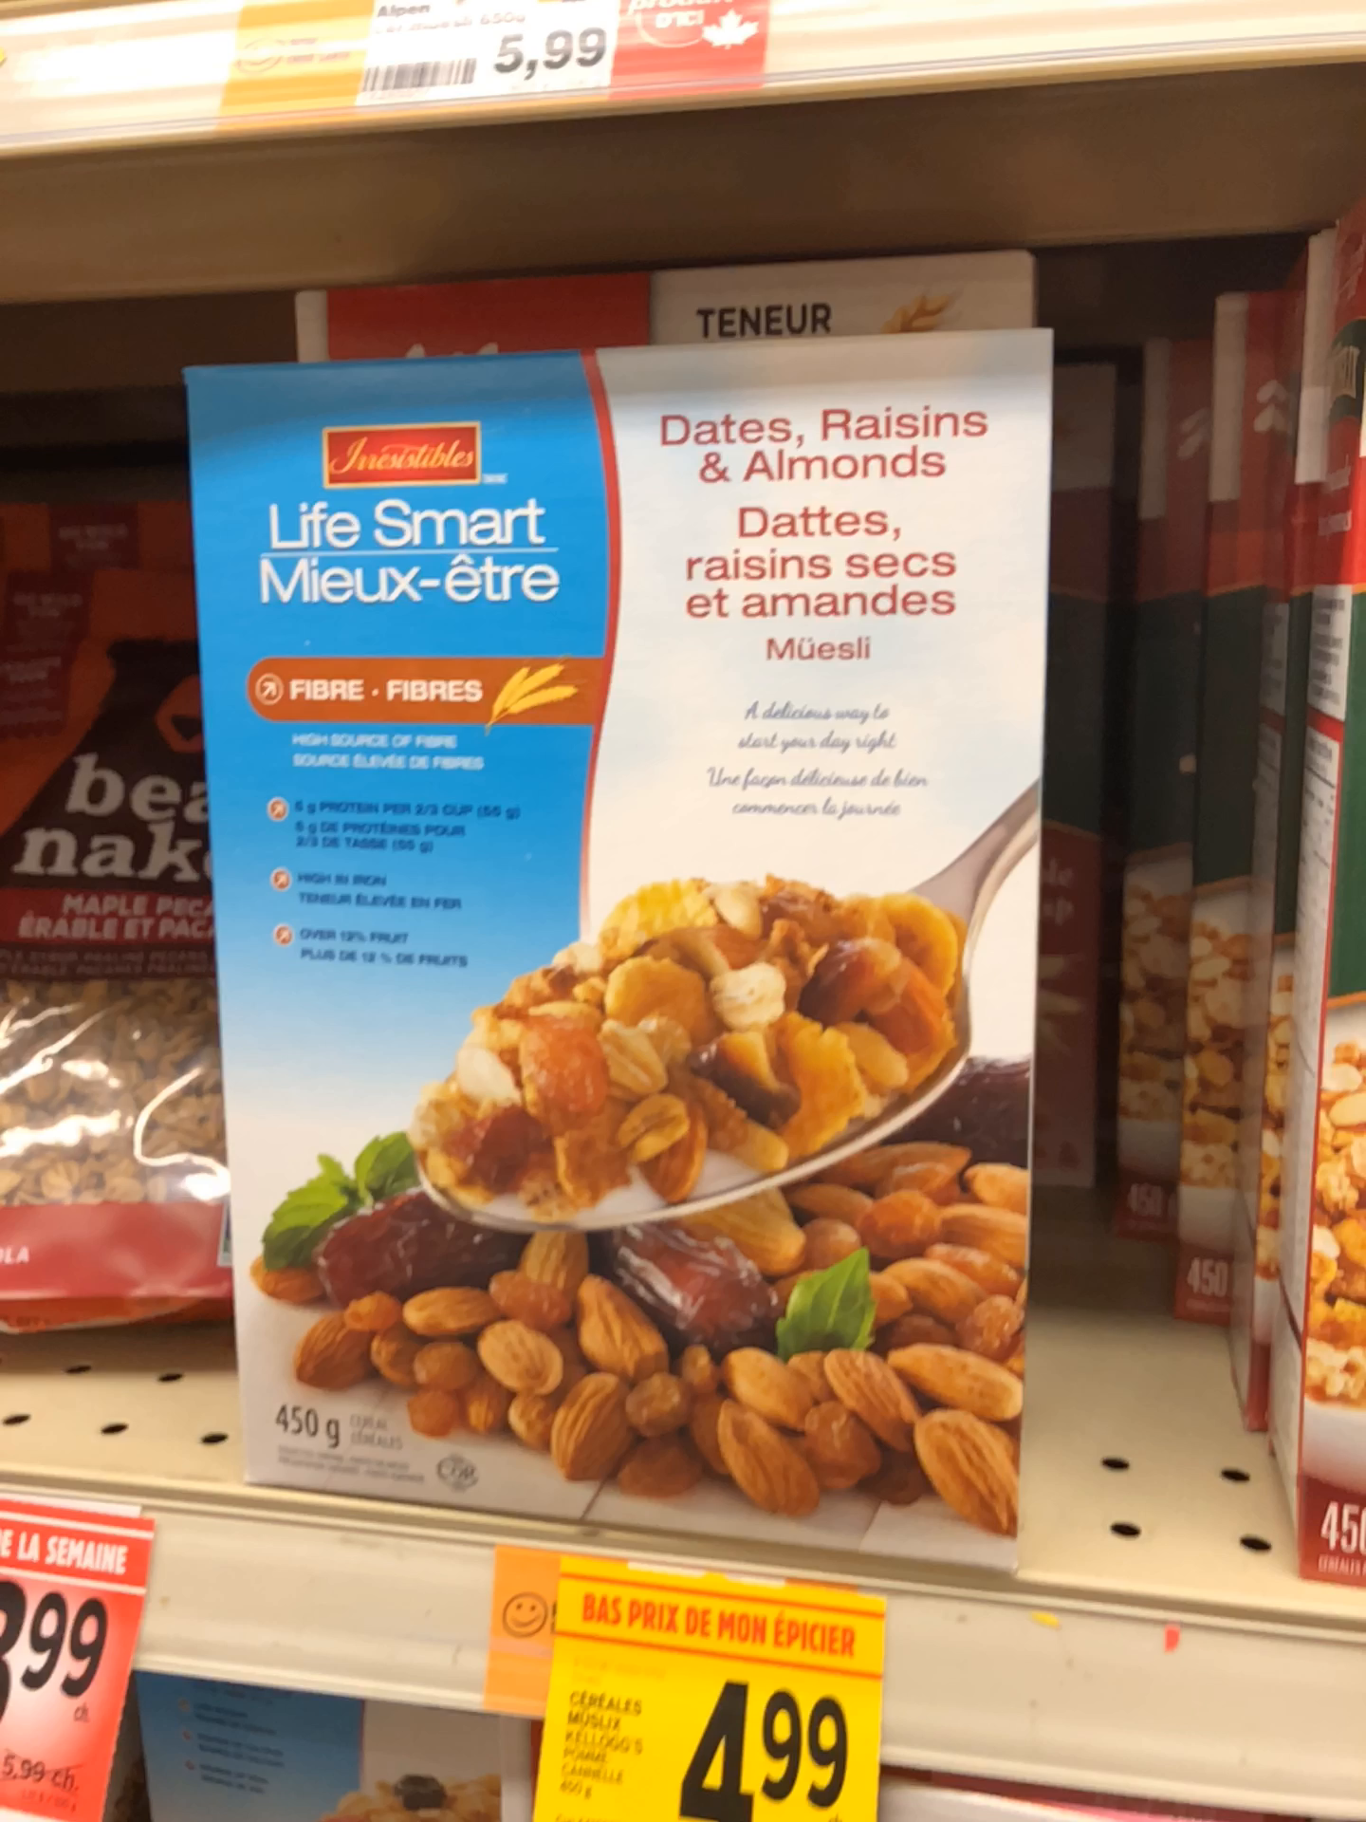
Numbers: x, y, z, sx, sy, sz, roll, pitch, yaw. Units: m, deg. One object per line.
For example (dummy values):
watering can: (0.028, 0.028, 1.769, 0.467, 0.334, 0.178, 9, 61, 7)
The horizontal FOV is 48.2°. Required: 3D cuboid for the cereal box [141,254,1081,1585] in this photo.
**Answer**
cereal box: (-0.011, 0.003, 0.312, 0.170, 0.239, 0.050, 2, 11, 13)
